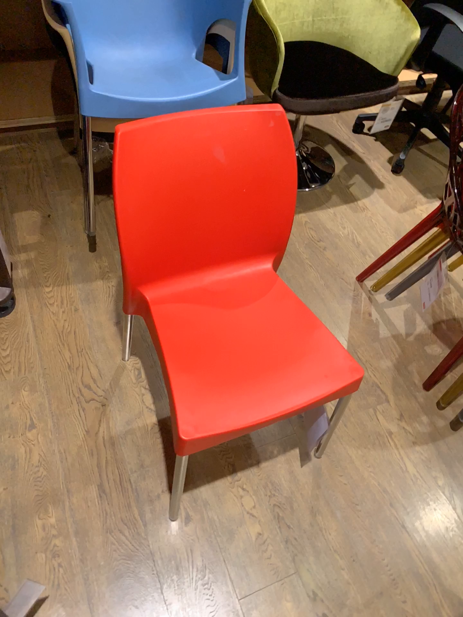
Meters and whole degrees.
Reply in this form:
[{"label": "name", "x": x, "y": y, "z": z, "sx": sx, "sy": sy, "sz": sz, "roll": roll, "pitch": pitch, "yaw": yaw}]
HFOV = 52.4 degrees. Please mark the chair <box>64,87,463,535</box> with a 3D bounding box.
[{"label": "chair", "x": 0.004, "y": 0.041, "z": 1.111, "sx": 0.521, "sy": 0.788, "sz": 0.591, "roll": -17, "pitch": 57, "yaw": -20}]
